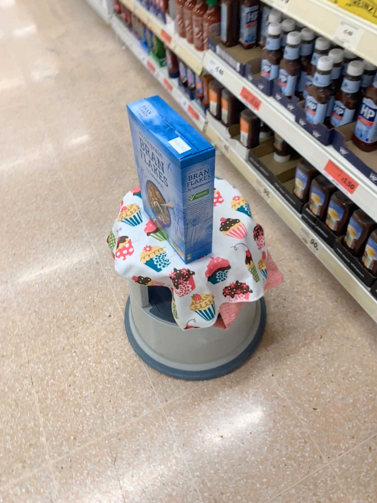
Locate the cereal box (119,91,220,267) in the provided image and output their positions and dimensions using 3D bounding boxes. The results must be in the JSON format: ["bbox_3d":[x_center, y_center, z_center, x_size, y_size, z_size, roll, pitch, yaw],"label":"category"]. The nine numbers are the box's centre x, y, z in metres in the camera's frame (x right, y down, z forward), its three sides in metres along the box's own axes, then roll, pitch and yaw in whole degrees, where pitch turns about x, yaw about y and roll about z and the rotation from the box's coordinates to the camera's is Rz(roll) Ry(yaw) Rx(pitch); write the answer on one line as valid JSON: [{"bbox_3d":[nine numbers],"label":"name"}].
[{"bbox_3d":[-0.034,-0.136,0.758,0.080,0.258,0.212,-26,53,-18],"label":"cereal box"}]
